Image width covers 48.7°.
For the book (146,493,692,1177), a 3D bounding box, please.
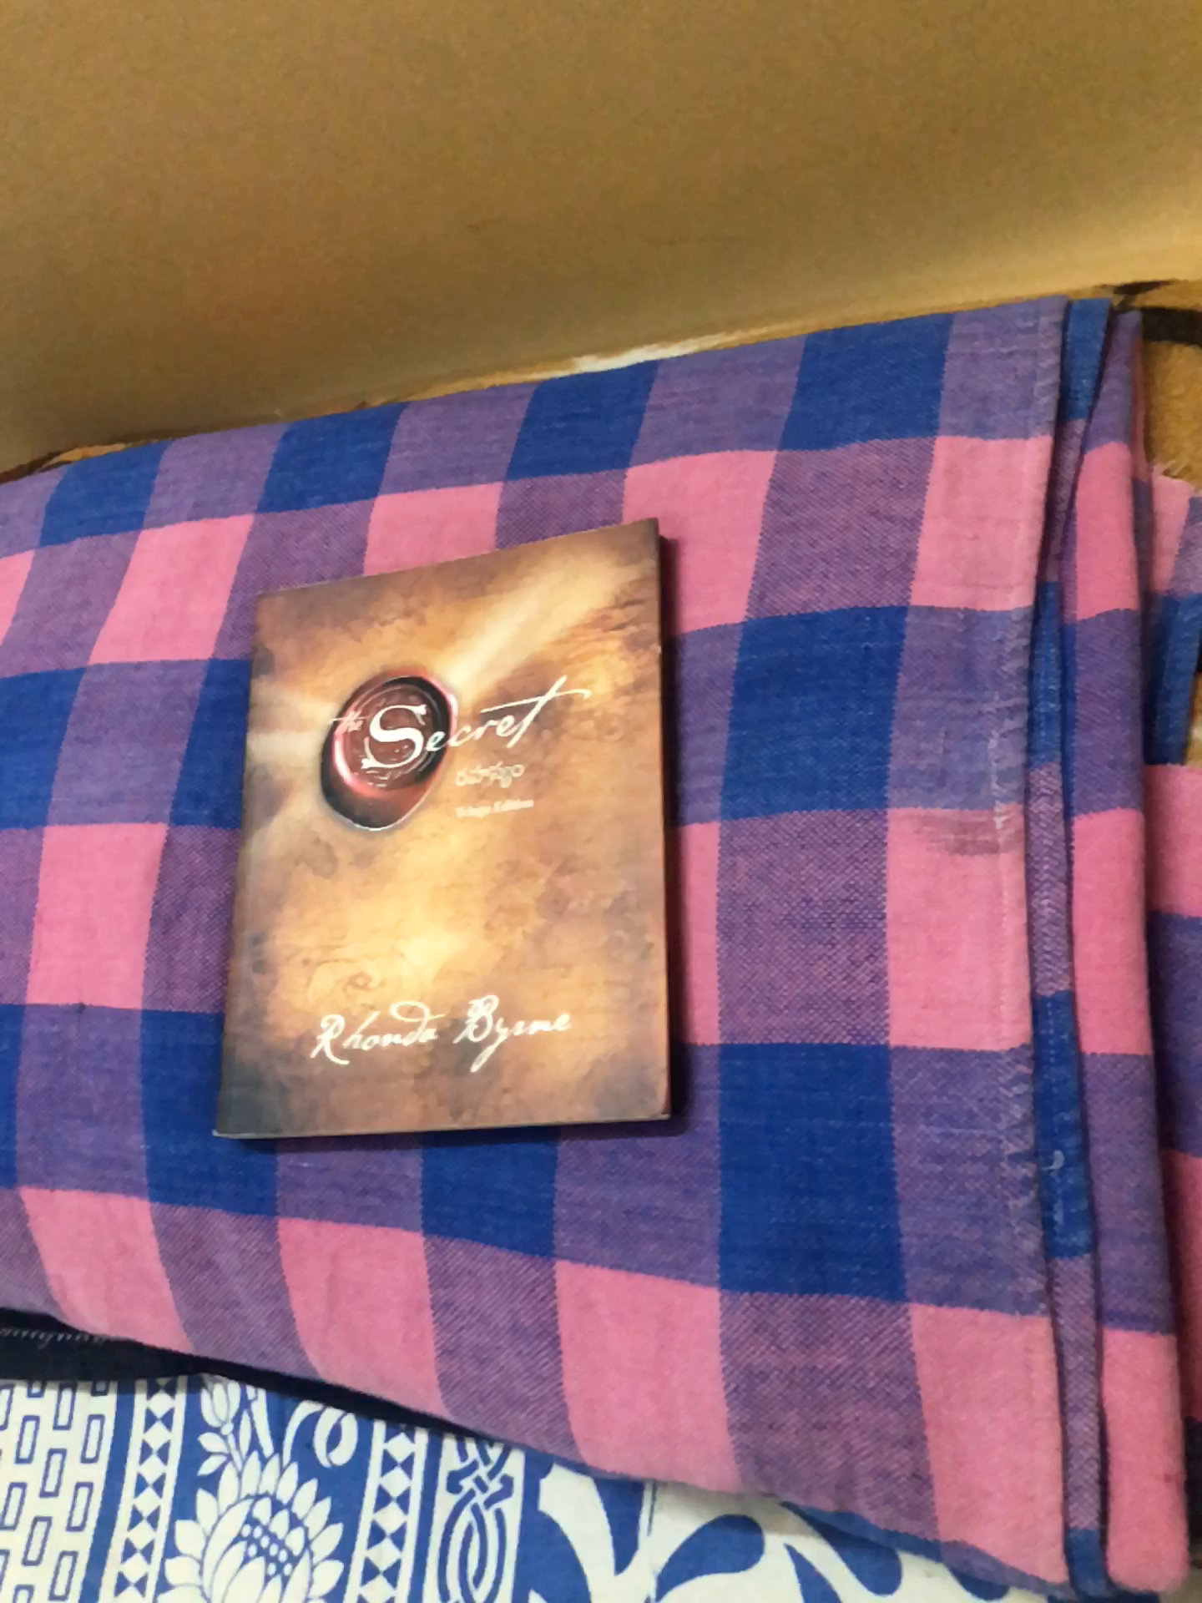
[{"bbox_3d":[-0.048,0.008,0.388,0.150,0.020,0.190,-9,62,21],"label":"book"}]
